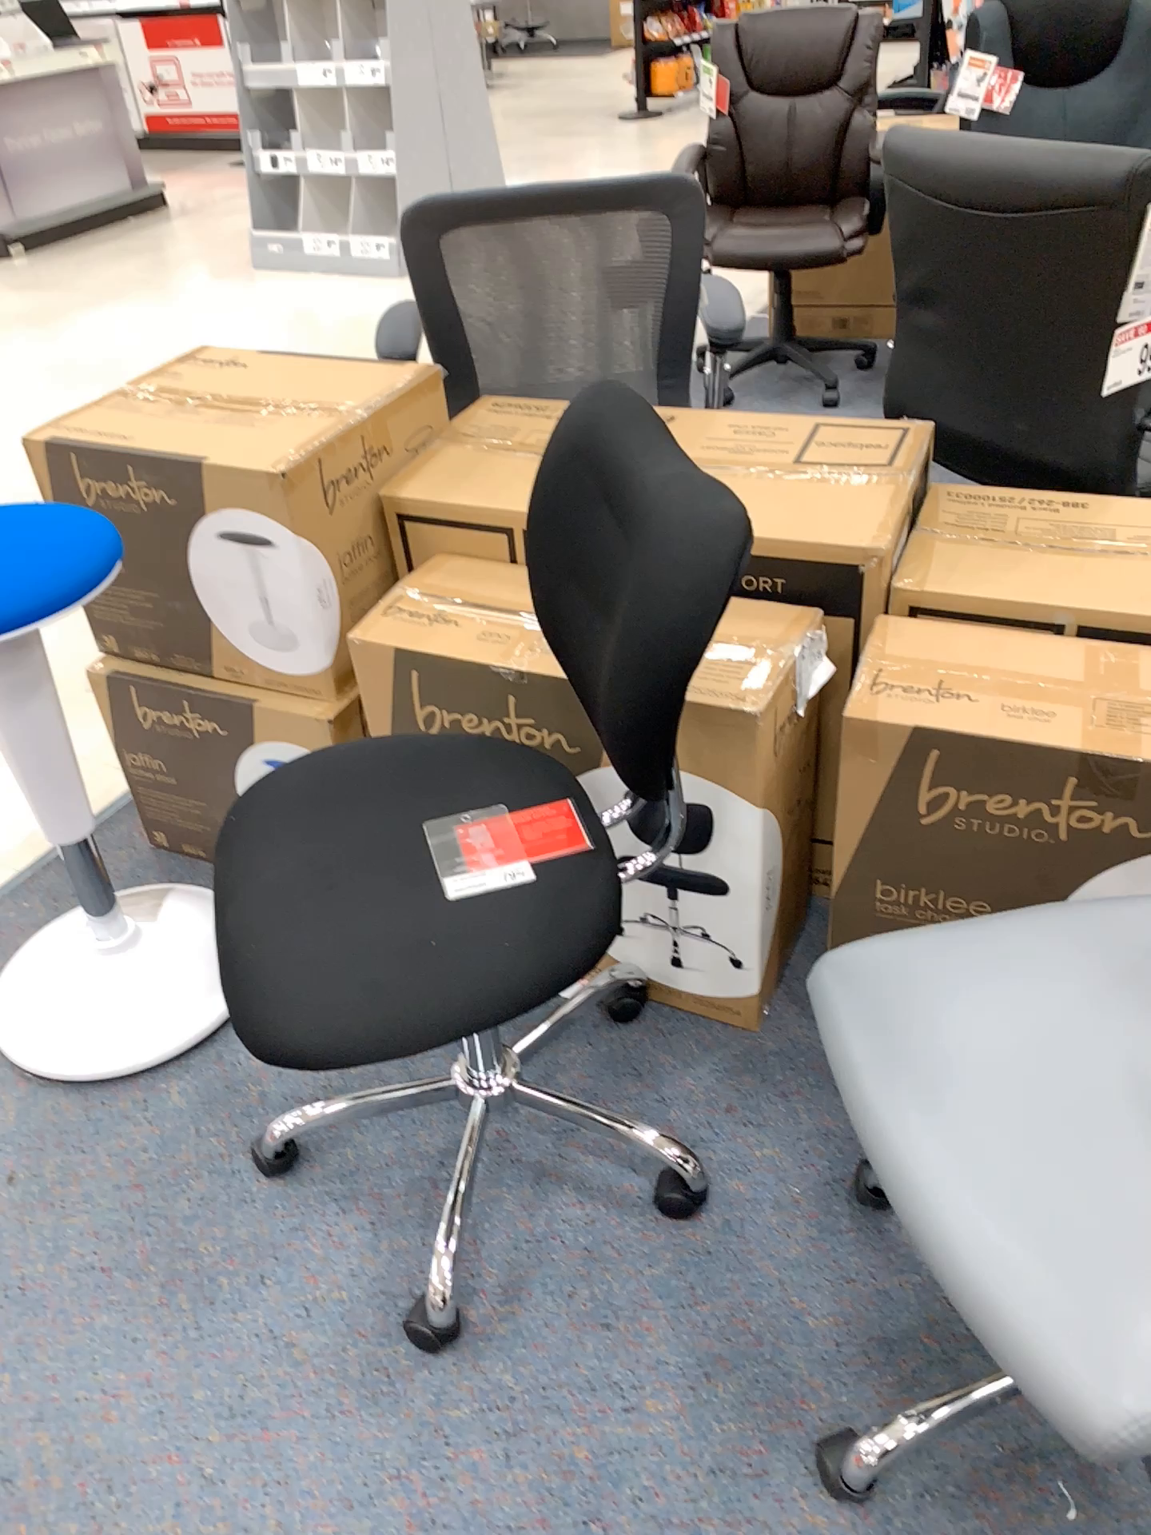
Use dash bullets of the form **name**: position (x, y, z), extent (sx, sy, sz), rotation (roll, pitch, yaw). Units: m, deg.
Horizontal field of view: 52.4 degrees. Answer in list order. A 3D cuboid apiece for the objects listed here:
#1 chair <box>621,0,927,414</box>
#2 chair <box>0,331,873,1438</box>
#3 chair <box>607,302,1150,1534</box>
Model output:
- **chair**: position (0.632, -1.772, 3.619), extent (0.738, 1.048, 0.871), rotation (6, 38, 15)
- **chair**: position (-0.155, 0.103, 1.291), extent (0.657, 0.879, 0.650), rotation (-12, 37, -9)
- **chair**: position (0.519, 0.273, 0.925), extent (0.707, 0.959, 0.741), rotation (-16, 37, -14)
